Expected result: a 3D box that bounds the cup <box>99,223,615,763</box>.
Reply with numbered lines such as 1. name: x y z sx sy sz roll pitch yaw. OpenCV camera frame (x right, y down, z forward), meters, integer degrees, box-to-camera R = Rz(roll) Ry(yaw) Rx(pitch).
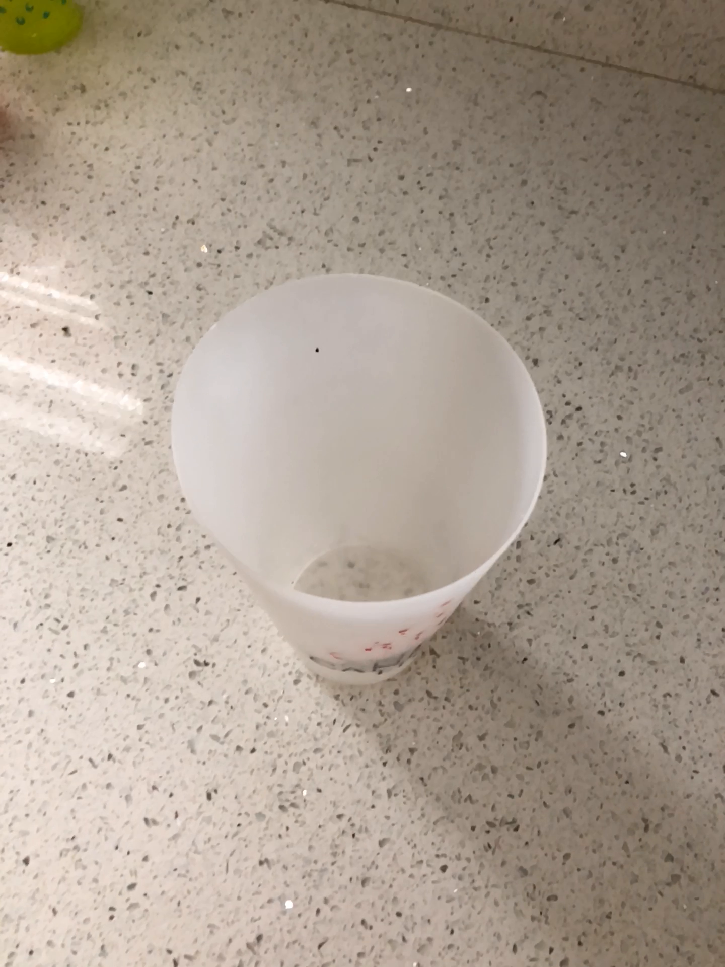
1. cup: -0.004 0.019 0.278 0.096 0.166 0.093 0 65 0
